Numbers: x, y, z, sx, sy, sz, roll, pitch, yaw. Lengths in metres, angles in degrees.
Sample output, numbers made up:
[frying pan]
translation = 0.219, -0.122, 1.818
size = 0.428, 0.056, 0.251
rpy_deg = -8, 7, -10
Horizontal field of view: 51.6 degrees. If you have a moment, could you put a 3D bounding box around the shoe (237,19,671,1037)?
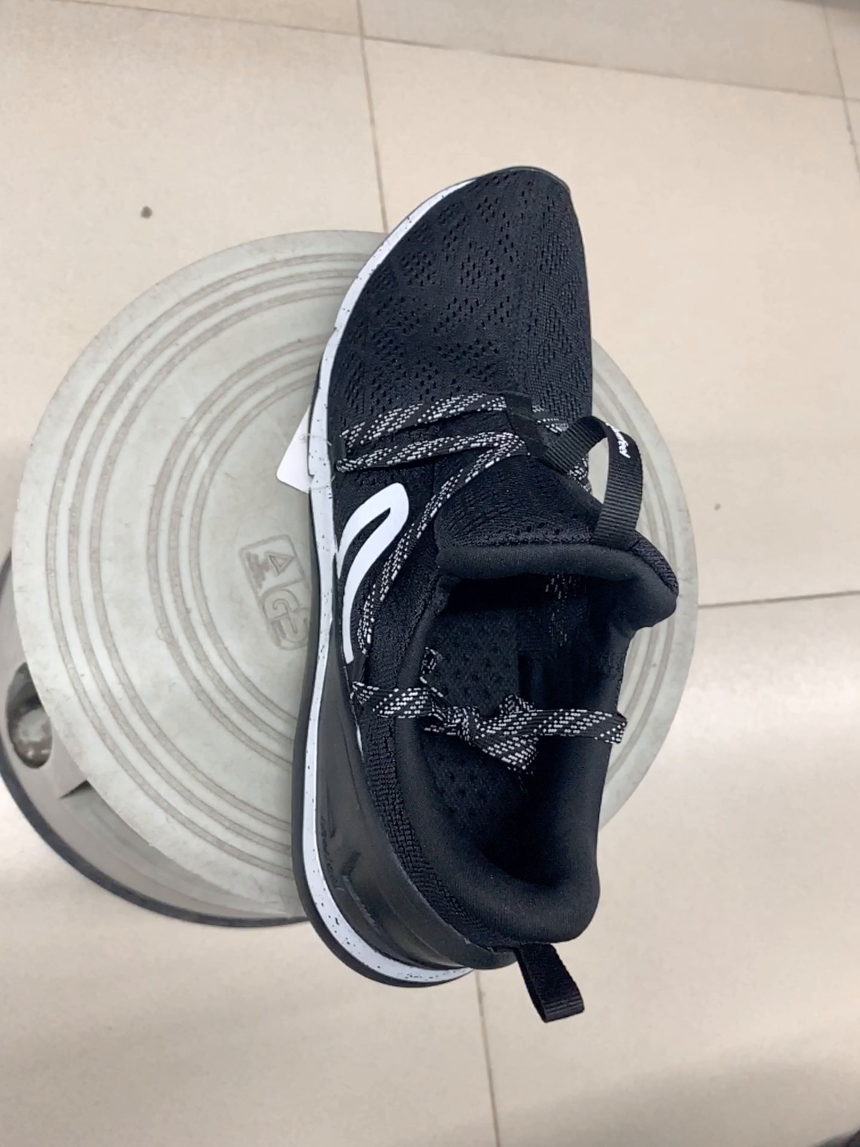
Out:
[shoe]
translation = 0.007, -0.018, 0.294
size = 0.100, 0.090, 0.290
rpy_deg = 8, 73, -16
